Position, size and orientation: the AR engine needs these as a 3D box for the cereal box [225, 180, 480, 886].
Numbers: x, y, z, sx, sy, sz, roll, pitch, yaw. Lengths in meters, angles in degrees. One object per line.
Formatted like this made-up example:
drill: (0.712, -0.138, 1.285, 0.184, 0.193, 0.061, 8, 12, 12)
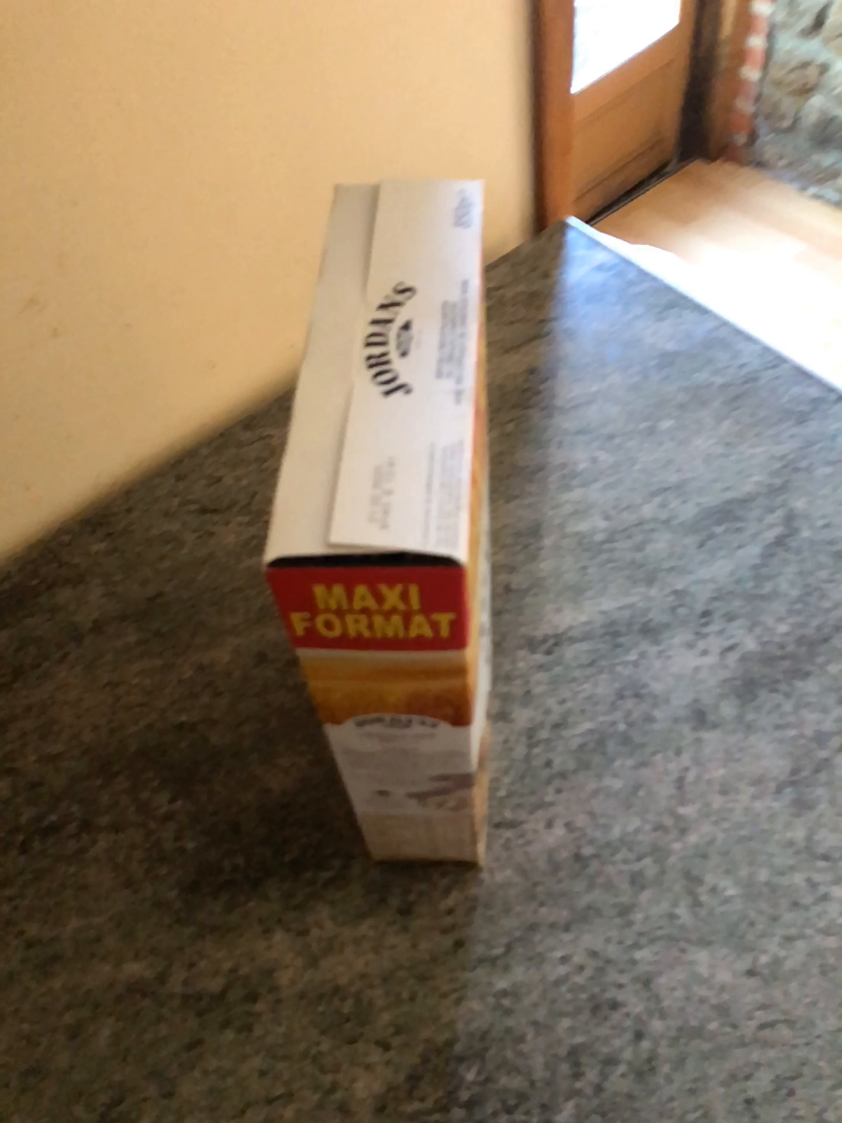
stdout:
cereal box: (-0.008, 0.012, 0.439, 0.070, 0.299, 0.201, 0, 56, 4)
